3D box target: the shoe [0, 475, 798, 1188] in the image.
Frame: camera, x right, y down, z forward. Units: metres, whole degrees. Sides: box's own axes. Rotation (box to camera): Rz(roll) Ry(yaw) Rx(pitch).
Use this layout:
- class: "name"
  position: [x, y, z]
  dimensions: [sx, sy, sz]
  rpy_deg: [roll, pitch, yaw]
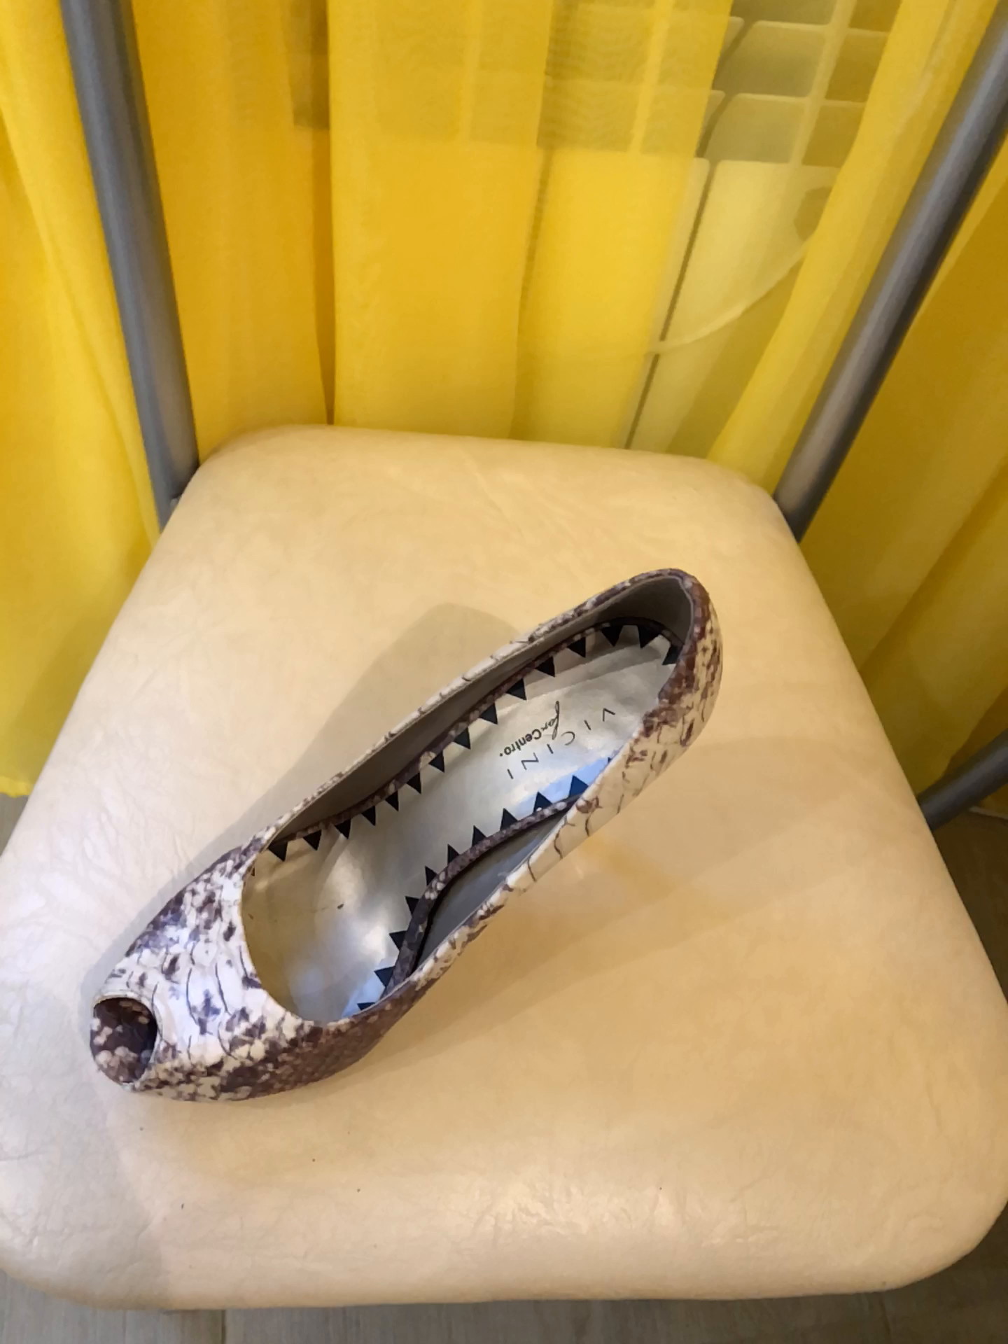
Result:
- class: "shoe"
  position: [-0.035, 0.045, 0.327]
  dimensions: [0.201, 0.129, 0.080]
  rpy_deg: [-25, 64, -24]
